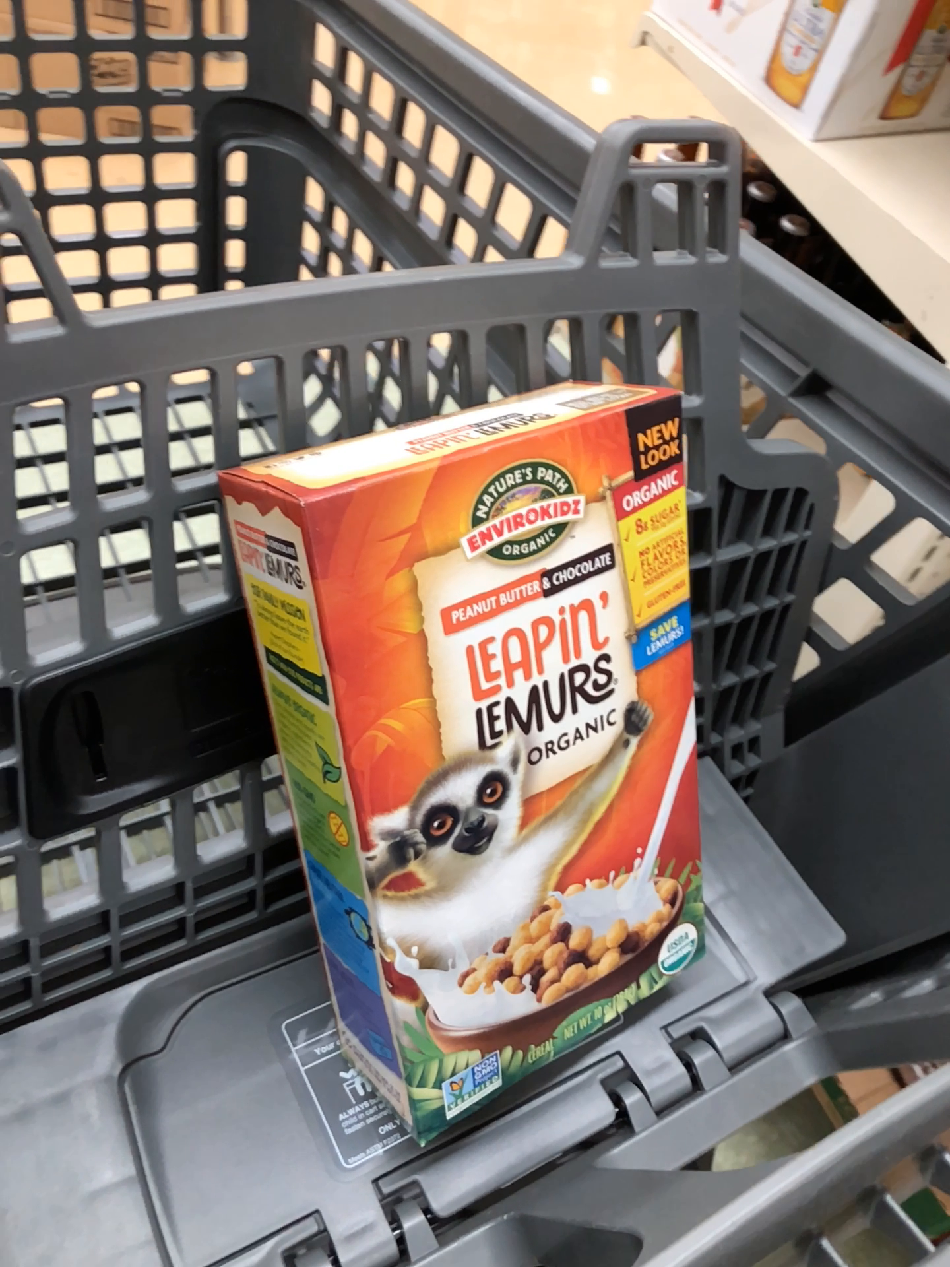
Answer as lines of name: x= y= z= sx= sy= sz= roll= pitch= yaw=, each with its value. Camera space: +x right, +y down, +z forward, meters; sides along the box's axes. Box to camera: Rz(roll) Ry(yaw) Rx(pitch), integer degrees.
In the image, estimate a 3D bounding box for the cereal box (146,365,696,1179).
cereal box: x=-0.005 y=0.045 z=0.402 sx=0.160 sy=0.260 sz=0.070 roll=-21 pitch=25 yaw=-30
